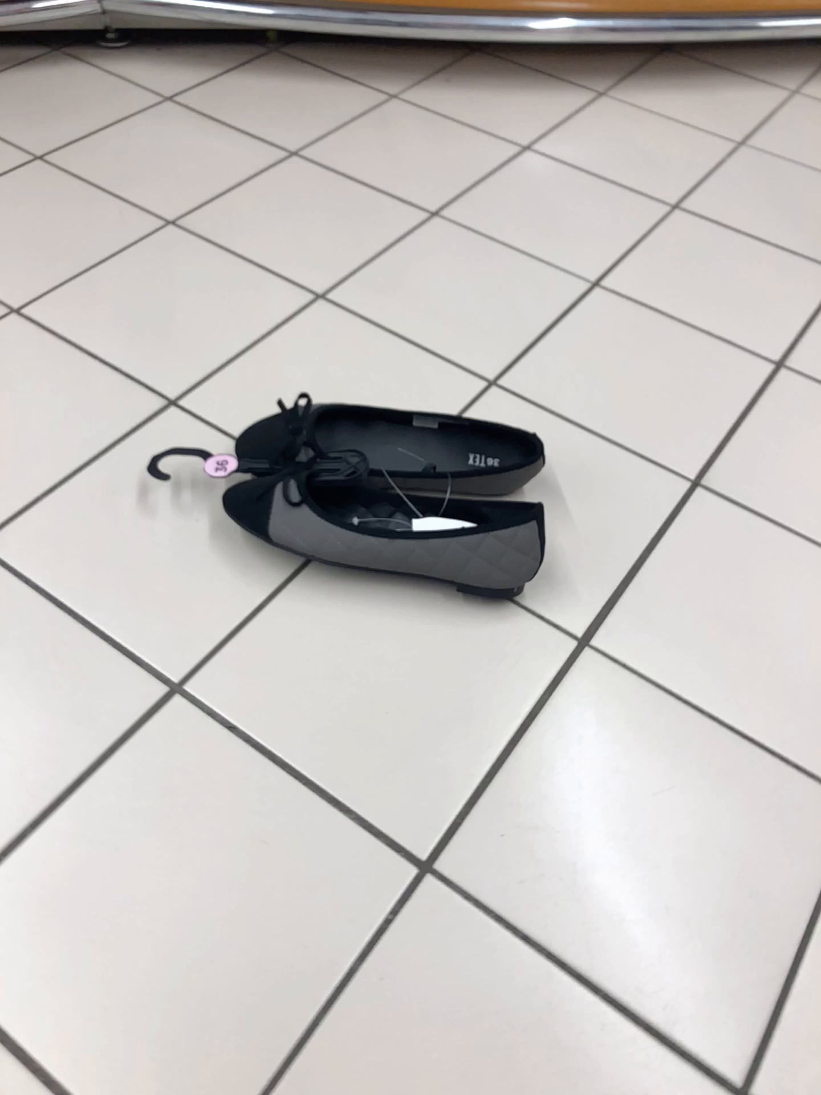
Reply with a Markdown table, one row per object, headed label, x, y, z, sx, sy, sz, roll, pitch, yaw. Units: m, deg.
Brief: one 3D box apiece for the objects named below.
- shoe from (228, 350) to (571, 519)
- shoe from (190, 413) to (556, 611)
| label | x | y | z | sx | sy | sz | roll | pitch | yaw |
| --- | --- | --- | --- | --- | --- | --- | --- | --- | --- |
| shoe | -0.007 | -0.084 | 0.695 | 0.242 | 0.081 | 0.078 | 6 | 72 | 0 |
| shoe | -0.025 | -0.027 | 0.647 | 0.242 | 0.081 | 0.078 | 8 | 35 | 2 |
